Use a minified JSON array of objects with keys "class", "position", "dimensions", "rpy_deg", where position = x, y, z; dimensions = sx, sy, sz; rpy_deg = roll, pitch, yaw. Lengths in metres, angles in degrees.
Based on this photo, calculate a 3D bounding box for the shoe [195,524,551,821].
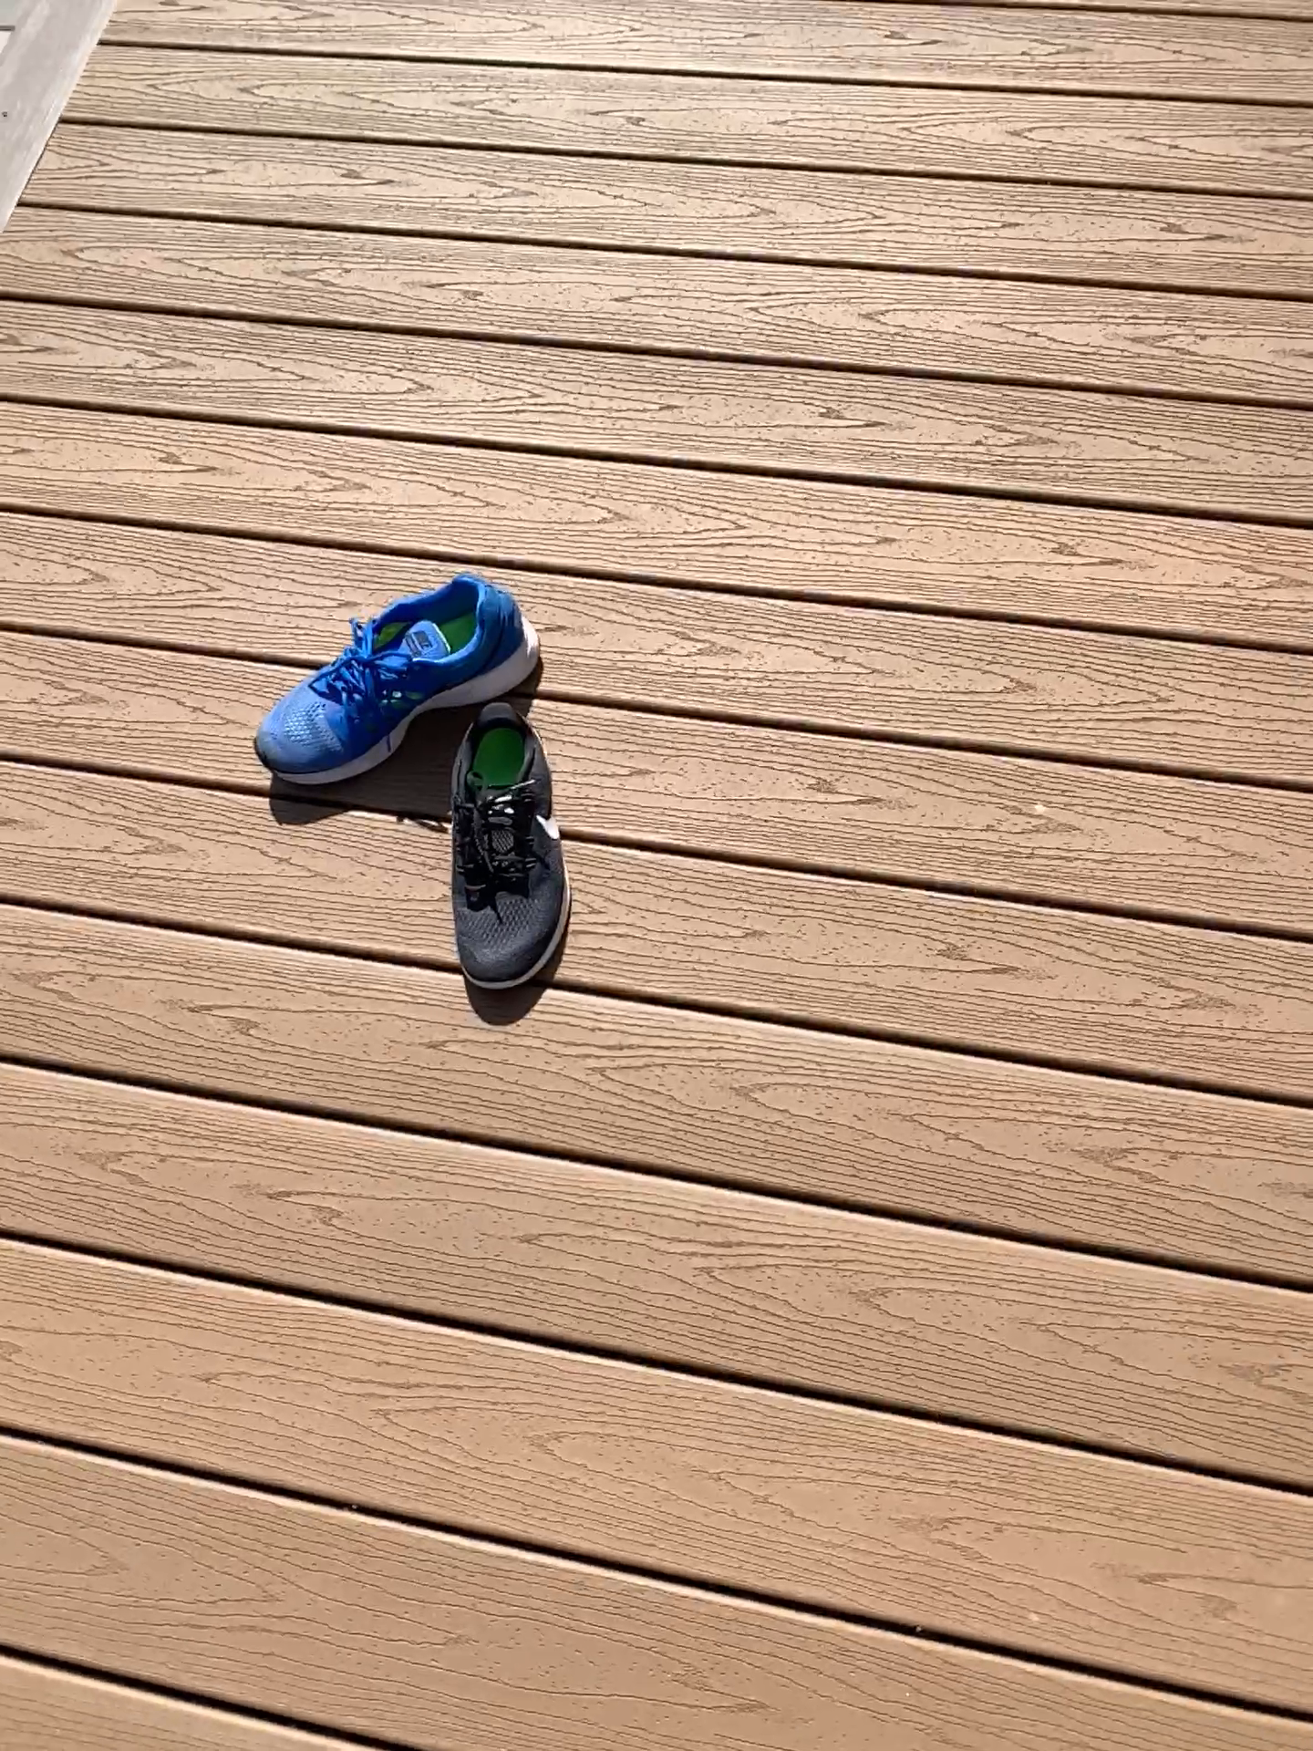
[{"class":"shoe","position":[-0.267,-0.194,1.293],"dimensions":[0.290,0.130,0.120],"rpy_deg":[-28,67,-7]}]

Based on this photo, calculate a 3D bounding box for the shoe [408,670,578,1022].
[{"class":"shoe","position":[-0.139,-0.027,1.192],"dimensions":[0.120,0.110,0.290],"rpy_deg":[-2,66,4]}]
